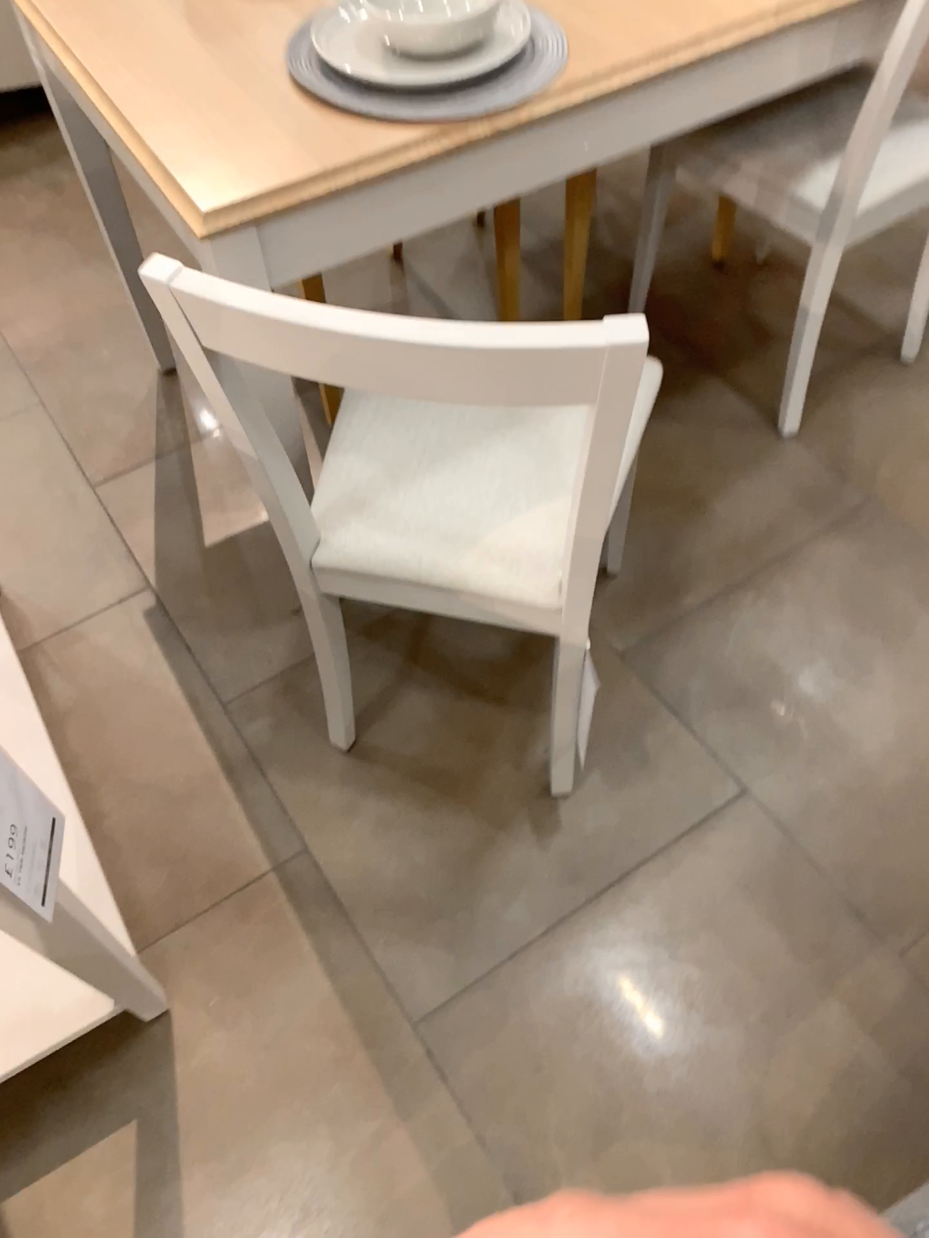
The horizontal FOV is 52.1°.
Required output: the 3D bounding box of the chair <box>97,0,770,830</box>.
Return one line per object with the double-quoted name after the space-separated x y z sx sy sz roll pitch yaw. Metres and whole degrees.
0.023 -0.195 1.169 0.461 0.834 0.510 12 56 11 "chair"
